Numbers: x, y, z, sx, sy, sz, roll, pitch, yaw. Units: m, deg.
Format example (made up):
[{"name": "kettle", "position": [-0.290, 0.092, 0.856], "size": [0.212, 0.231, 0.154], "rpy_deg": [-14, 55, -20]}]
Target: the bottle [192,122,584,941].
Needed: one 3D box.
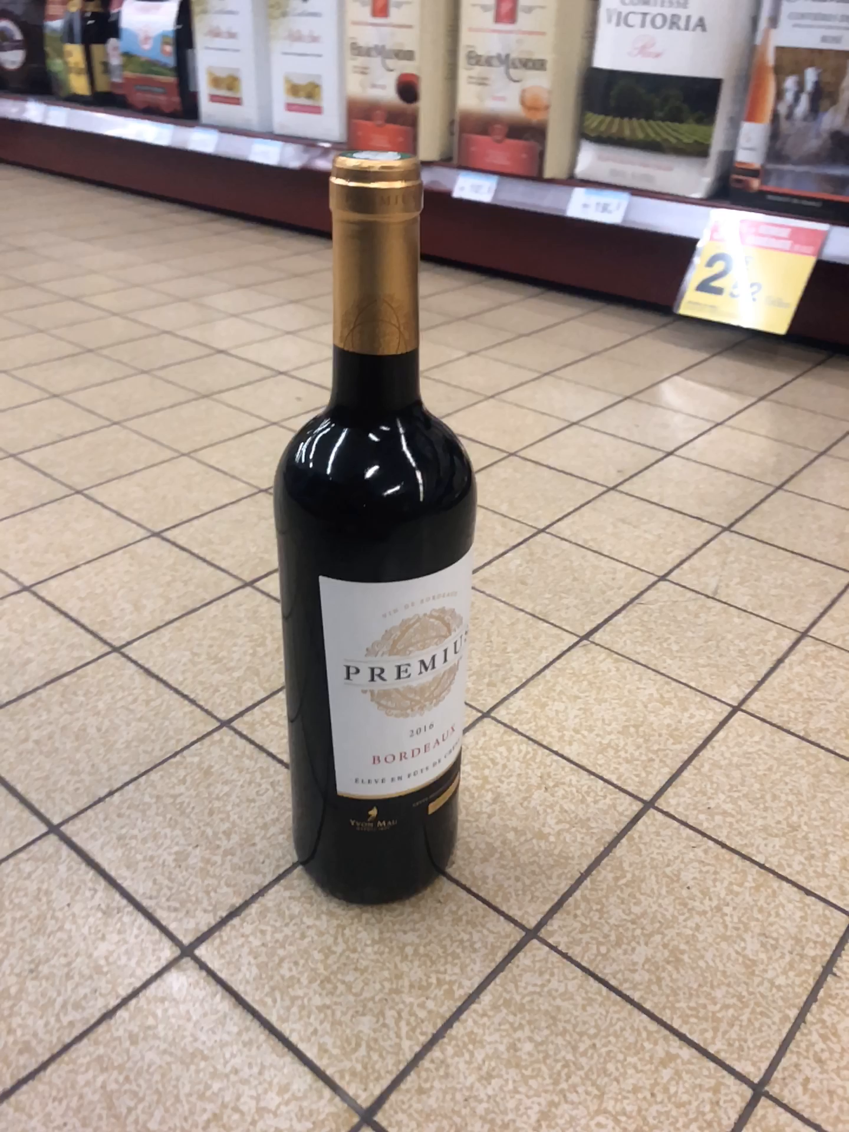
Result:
[{"name": "bottle", "position": [-0.017, -0.005, 0.353], "size": [0.090, 0.288, 0.080], "rpy_deg": [-16, 34, -29]}]
